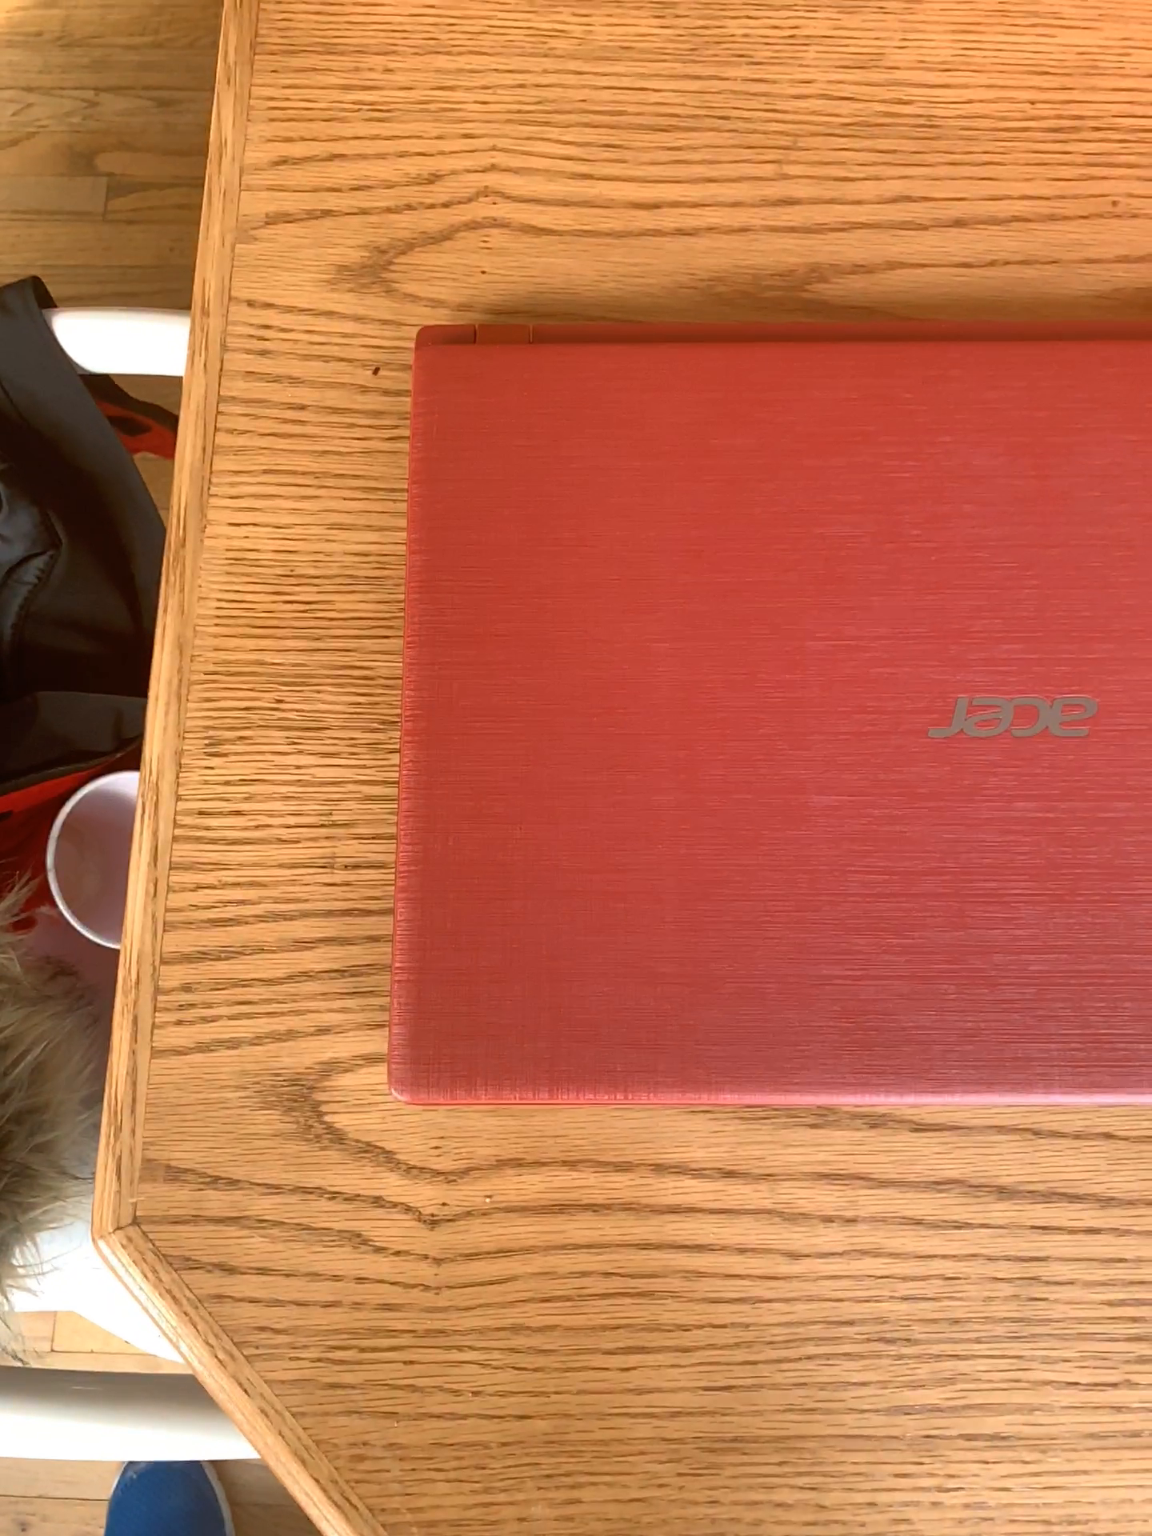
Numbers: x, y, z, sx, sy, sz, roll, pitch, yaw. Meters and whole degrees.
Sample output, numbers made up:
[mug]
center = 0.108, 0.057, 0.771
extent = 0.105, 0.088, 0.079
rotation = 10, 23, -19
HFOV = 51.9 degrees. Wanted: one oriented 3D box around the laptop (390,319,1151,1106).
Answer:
[laptop]
center = 0.128, -0.022, 0.359
extent = 0.362, 0.013, 0.236
rotation = 0, 79, 2
